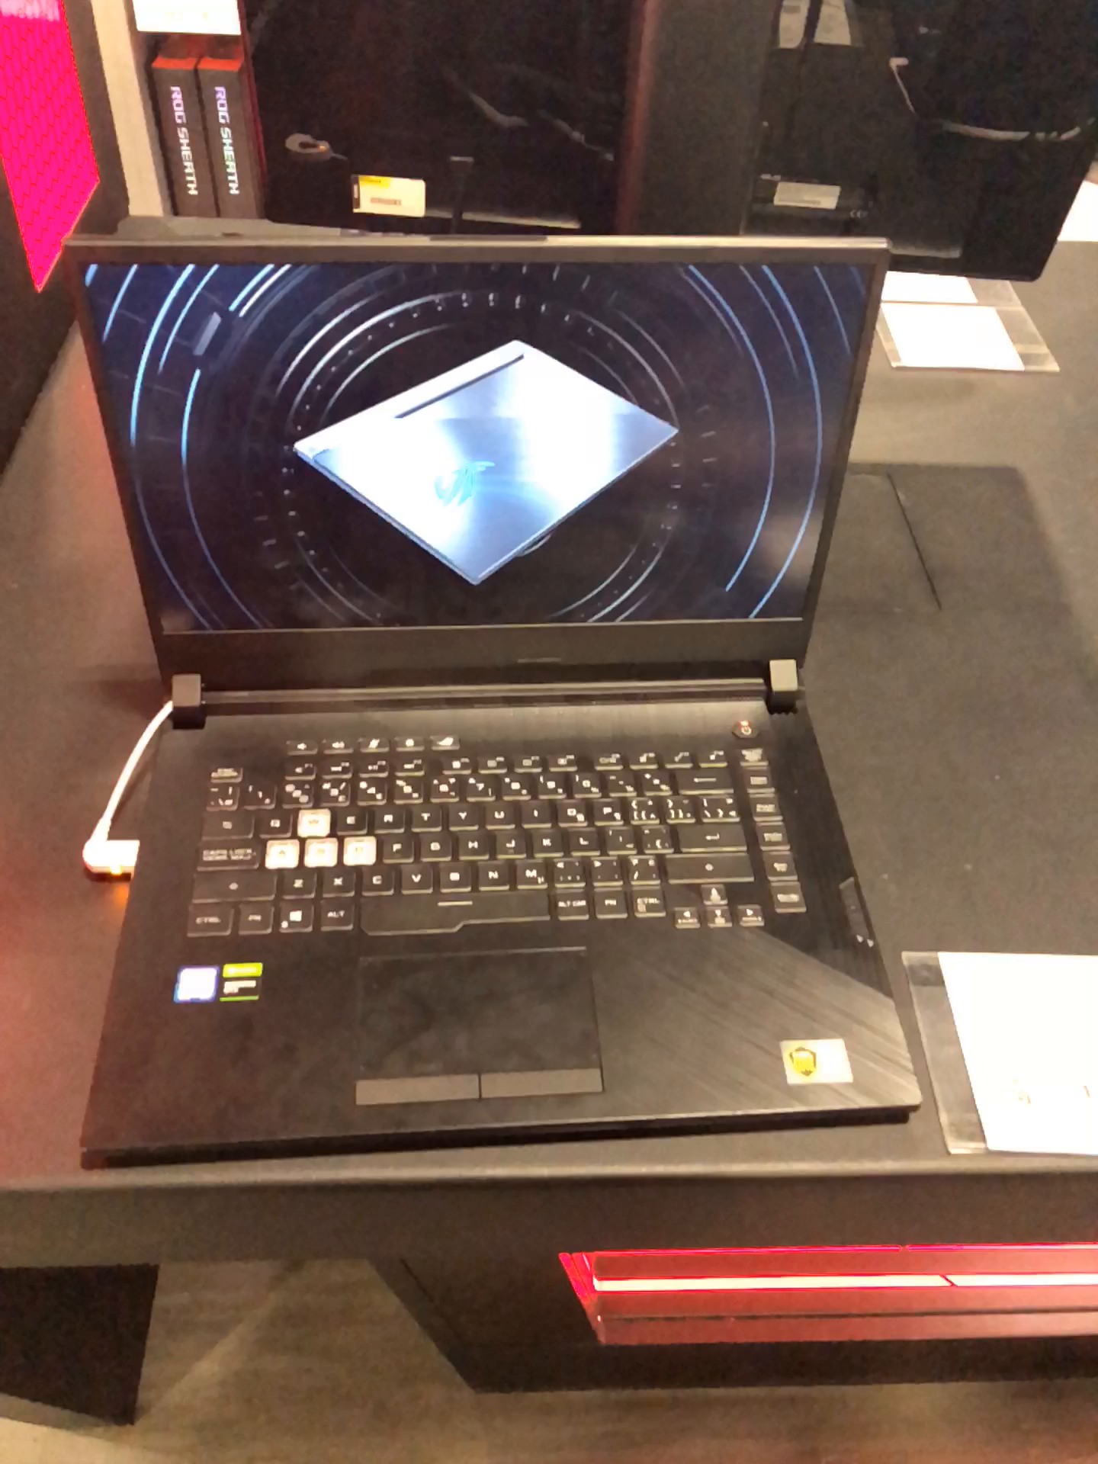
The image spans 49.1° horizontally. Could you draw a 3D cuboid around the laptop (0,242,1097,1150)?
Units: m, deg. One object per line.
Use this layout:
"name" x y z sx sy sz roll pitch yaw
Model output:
"laptop" -0.019 -0.018 0.526 0.360 0.268 0.276 -2 47 -5
